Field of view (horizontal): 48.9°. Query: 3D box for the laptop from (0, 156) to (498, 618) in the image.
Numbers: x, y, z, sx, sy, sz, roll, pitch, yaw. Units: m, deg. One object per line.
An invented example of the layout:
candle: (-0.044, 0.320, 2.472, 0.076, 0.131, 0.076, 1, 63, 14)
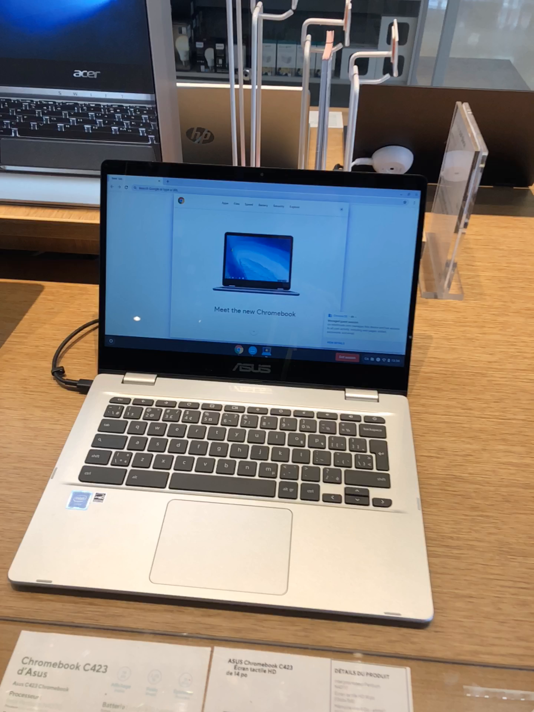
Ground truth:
laptop: (-0.021, -0.001, 0.489, 0.281, 0.186, 0.337, 3, 40, 0)
